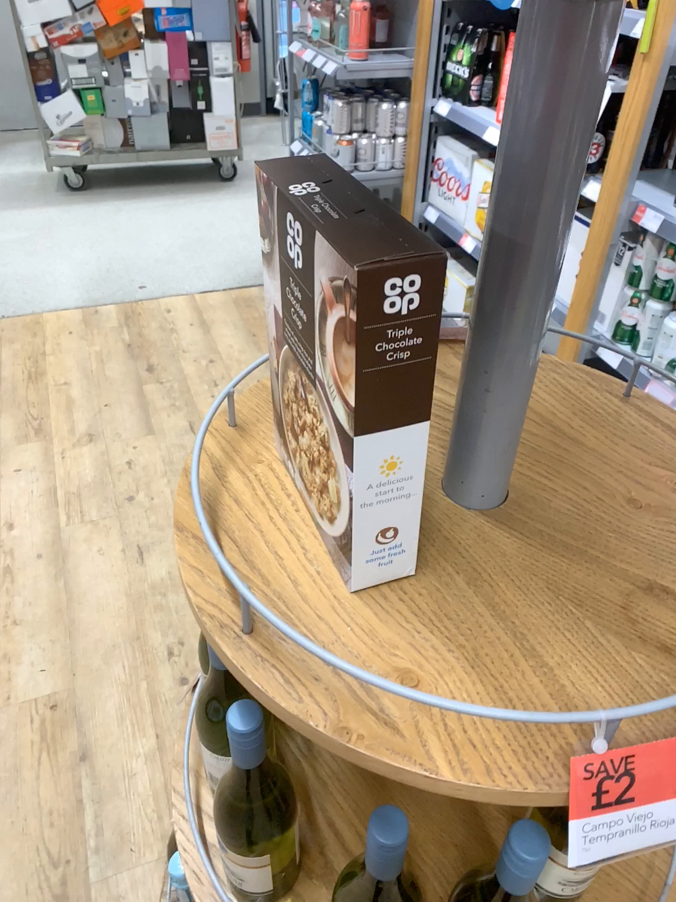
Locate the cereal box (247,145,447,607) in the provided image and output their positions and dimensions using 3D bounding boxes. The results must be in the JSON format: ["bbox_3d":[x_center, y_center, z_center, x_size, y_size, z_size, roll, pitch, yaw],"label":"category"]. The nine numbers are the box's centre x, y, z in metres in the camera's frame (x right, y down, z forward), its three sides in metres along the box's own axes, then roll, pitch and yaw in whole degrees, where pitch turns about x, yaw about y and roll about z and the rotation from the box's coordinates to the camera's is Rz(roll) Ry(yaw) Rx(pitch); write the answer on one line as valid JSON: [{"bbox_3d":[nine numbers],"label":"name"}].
[{"bbox_3d":[-0.005,-0.051,0.476,0.050,0.247,0.192,-13,41,-16],"label":"cereal box"}]
